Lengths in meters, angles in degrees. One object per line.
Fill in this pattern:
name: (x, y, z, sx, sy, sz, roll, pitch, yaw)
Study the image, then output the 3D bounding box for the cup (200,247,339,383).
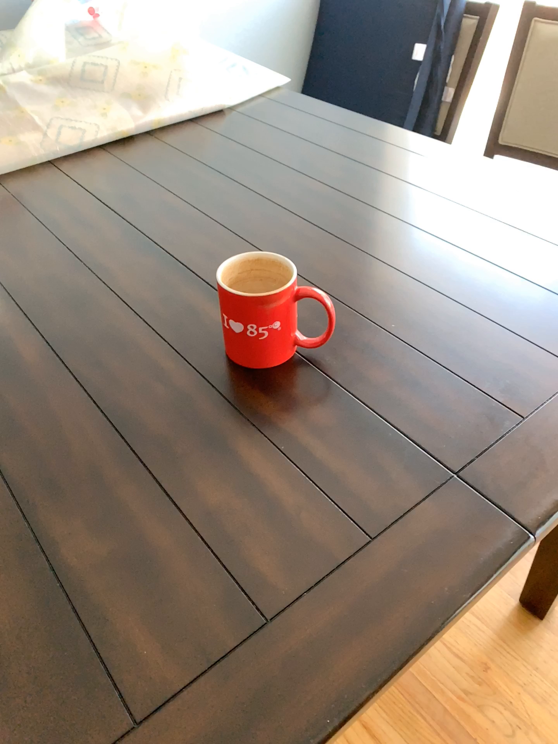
cup: (-0.005, -0.058, 0.575, 0.120, 0.100, 0.080, 5, 42, 7)
